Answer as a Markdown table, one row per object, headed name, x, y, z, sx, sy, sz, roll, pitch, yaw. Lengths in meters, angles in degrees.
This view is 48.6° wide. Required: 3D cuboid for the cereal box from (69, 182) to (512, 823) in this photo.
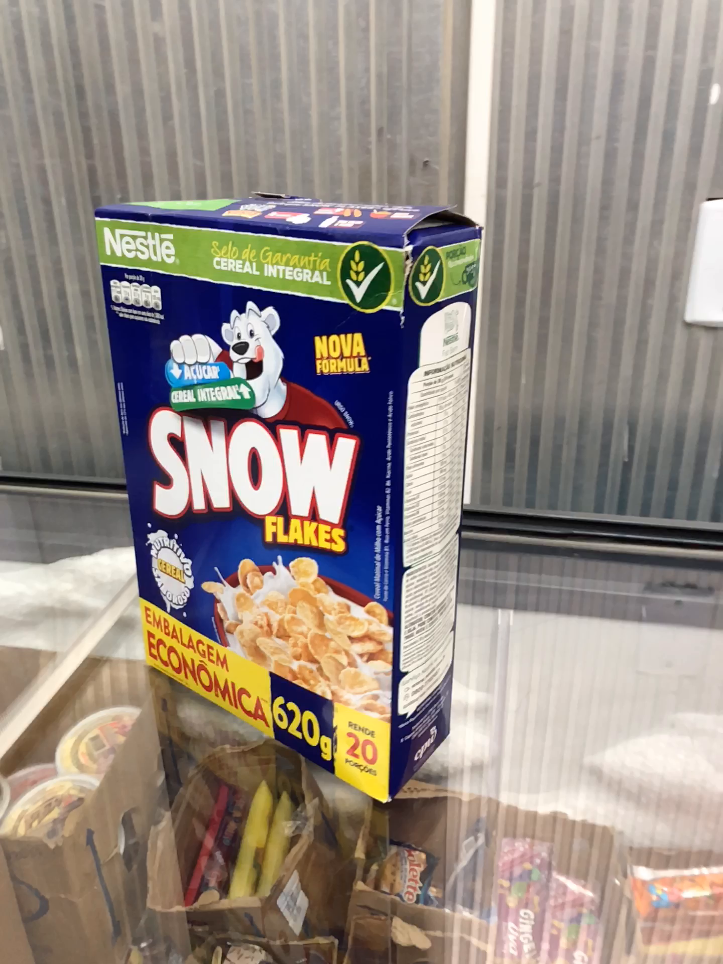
| name | x | y | z | sx | sy | sz | roll | pitch | yaw |
| --- | --- | --- | --- | --- | --- | --- | --- | --- | --- |
| cereal box | -0.044 | 0.000 | 0.454 | 0.231 | 0.308 | 0.070 | 17 | 29 | 35 |
